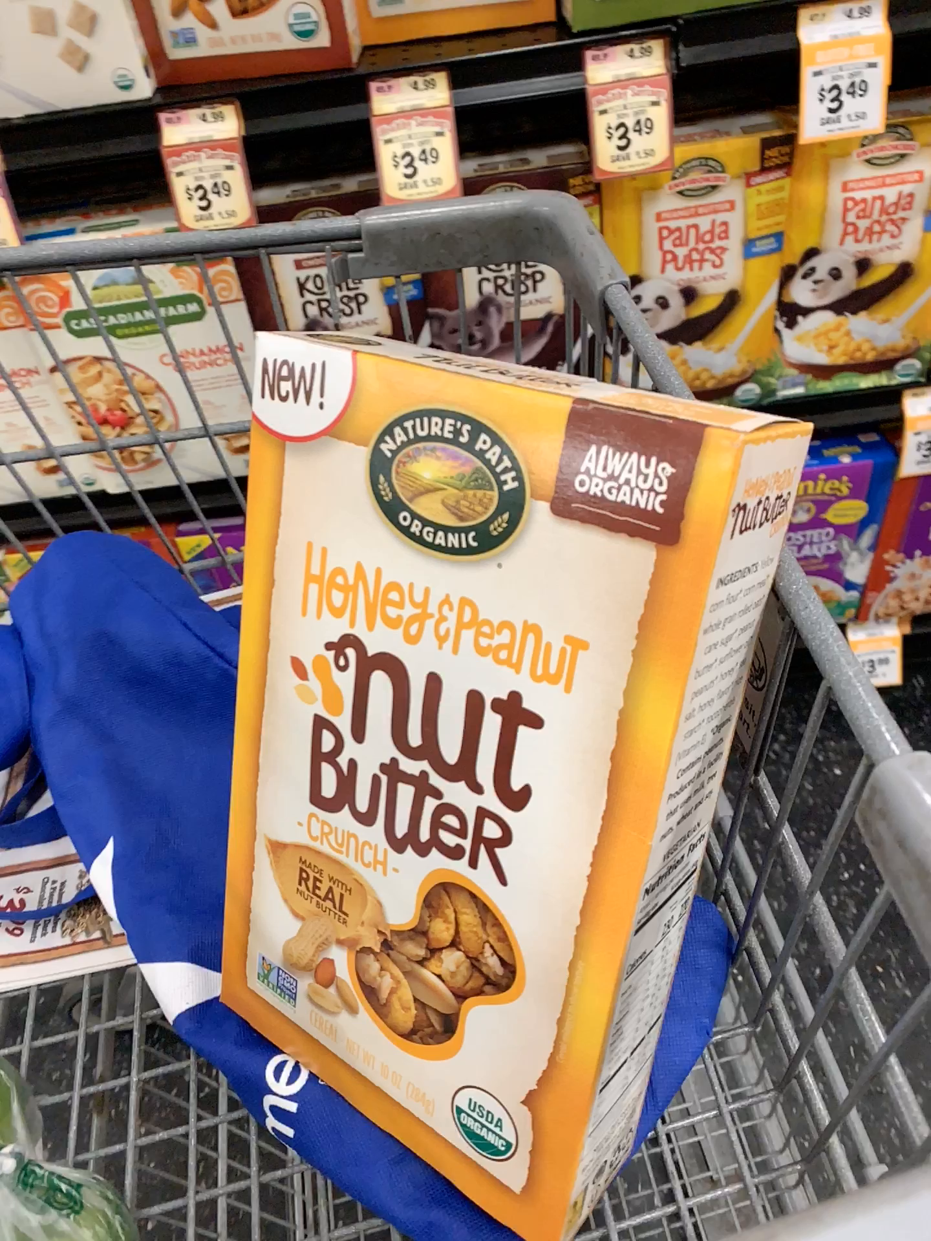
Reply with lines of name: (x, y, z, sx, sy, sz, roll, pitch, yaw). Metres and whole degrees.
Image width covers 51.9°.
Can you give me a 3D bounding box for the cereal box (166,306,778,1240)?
cereal box: (-0.018, 0.040, 0.294, 0.160, 0.239, 0.050, 21, 23, 32)
